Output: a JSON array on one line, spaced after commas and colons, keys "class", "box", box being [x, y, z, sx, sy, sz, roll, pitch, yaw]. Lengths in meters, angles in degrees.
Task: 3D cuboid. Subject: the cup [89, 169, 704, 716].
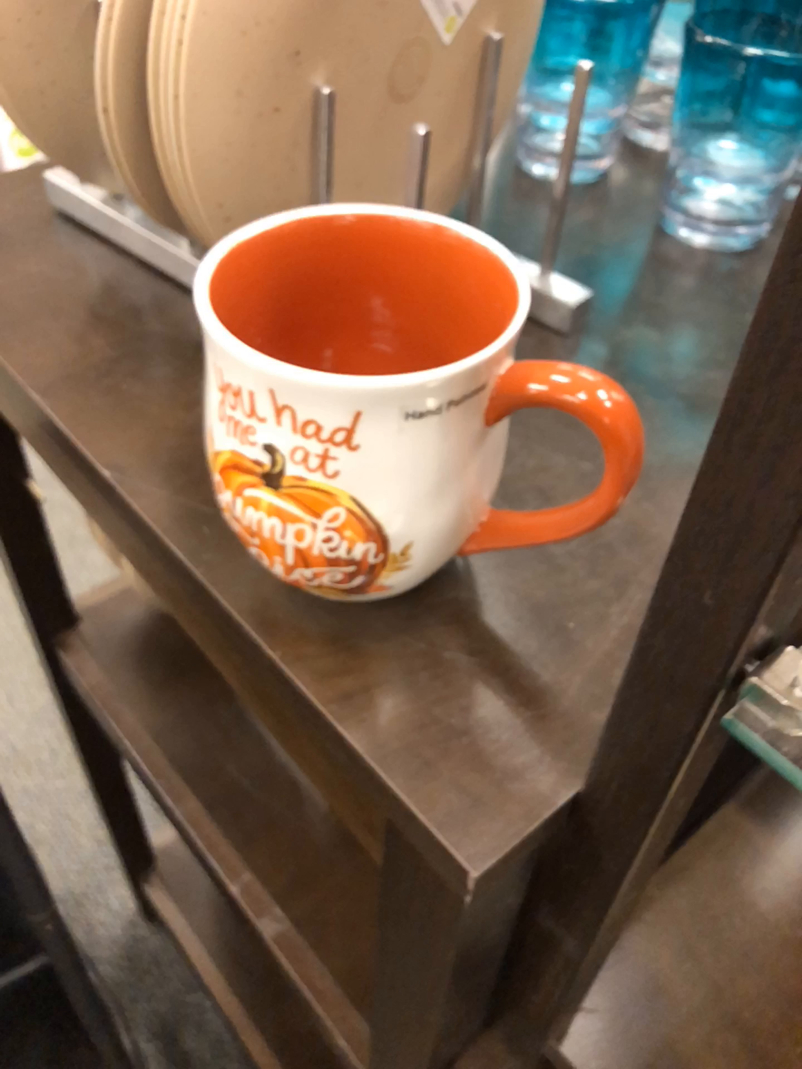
[{"class": "cup", "box": [0.001, -0.036, 0.289, 0.143, 0.094, 0.102, 21, 47, 17]}]
